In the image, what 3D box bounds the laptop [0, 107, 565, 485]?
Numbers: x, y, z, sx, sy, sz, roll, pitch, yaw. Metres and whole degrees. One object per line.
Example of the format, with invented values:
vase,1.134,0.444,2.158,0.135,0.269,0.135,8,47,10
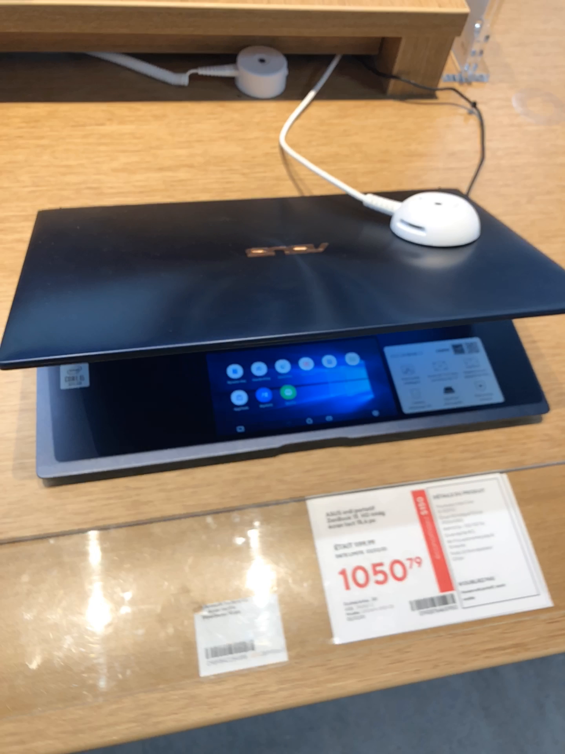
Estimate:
laptop,0.009,-0.069,0.425,0.352,0.098,0.209,-6,60,-12
